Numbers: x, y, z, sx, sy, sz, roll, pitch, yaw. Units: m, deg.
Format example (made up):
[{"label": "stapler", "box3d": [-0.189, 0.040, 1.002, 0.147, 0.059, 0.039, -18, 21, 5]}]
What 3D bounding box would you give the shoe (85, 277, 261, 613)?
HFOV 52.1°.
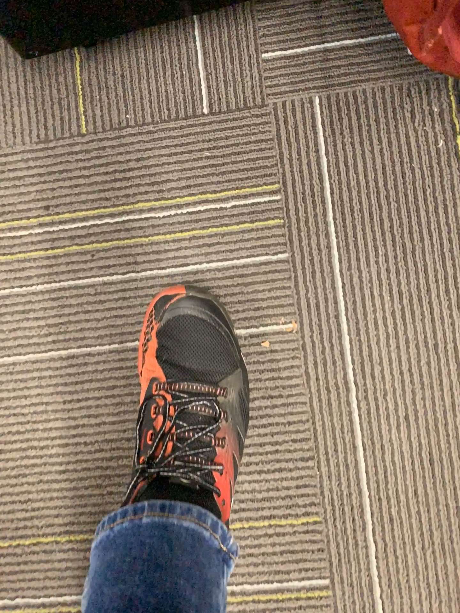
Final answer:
[{"label": "shoe", "box3d": [-0.048, 0.138, 0.453, 0.130, 0.077, 0.317, 4, 88, 5]}]
